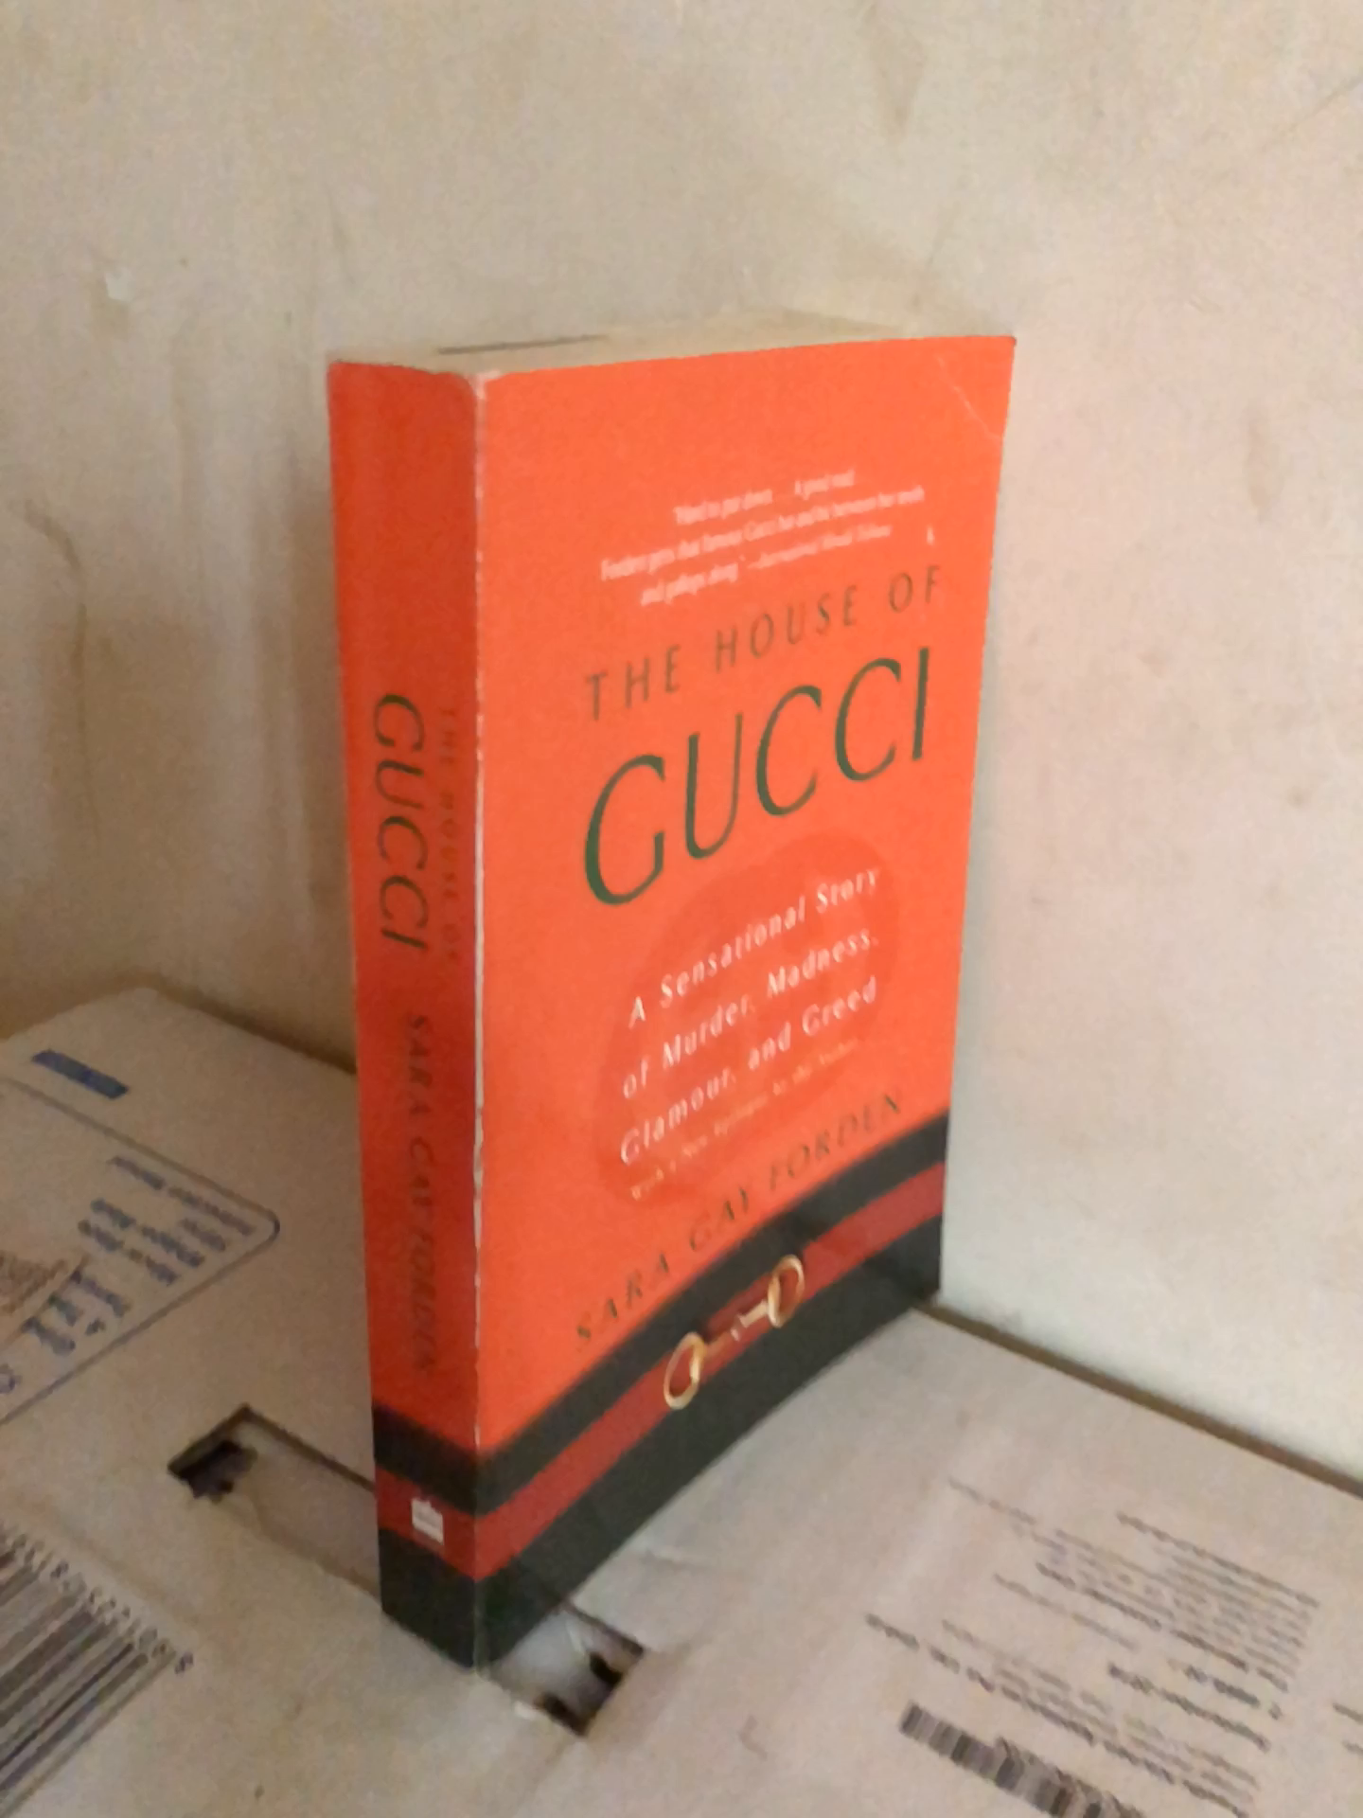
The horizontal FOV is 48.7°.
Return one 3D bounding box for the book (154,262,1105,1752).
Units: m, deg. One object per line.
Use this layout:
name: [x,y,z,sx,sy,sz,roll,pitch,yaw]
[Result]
book: [0.007,0.005,0.289,0.040,0.229,0.191,20,32,32]
